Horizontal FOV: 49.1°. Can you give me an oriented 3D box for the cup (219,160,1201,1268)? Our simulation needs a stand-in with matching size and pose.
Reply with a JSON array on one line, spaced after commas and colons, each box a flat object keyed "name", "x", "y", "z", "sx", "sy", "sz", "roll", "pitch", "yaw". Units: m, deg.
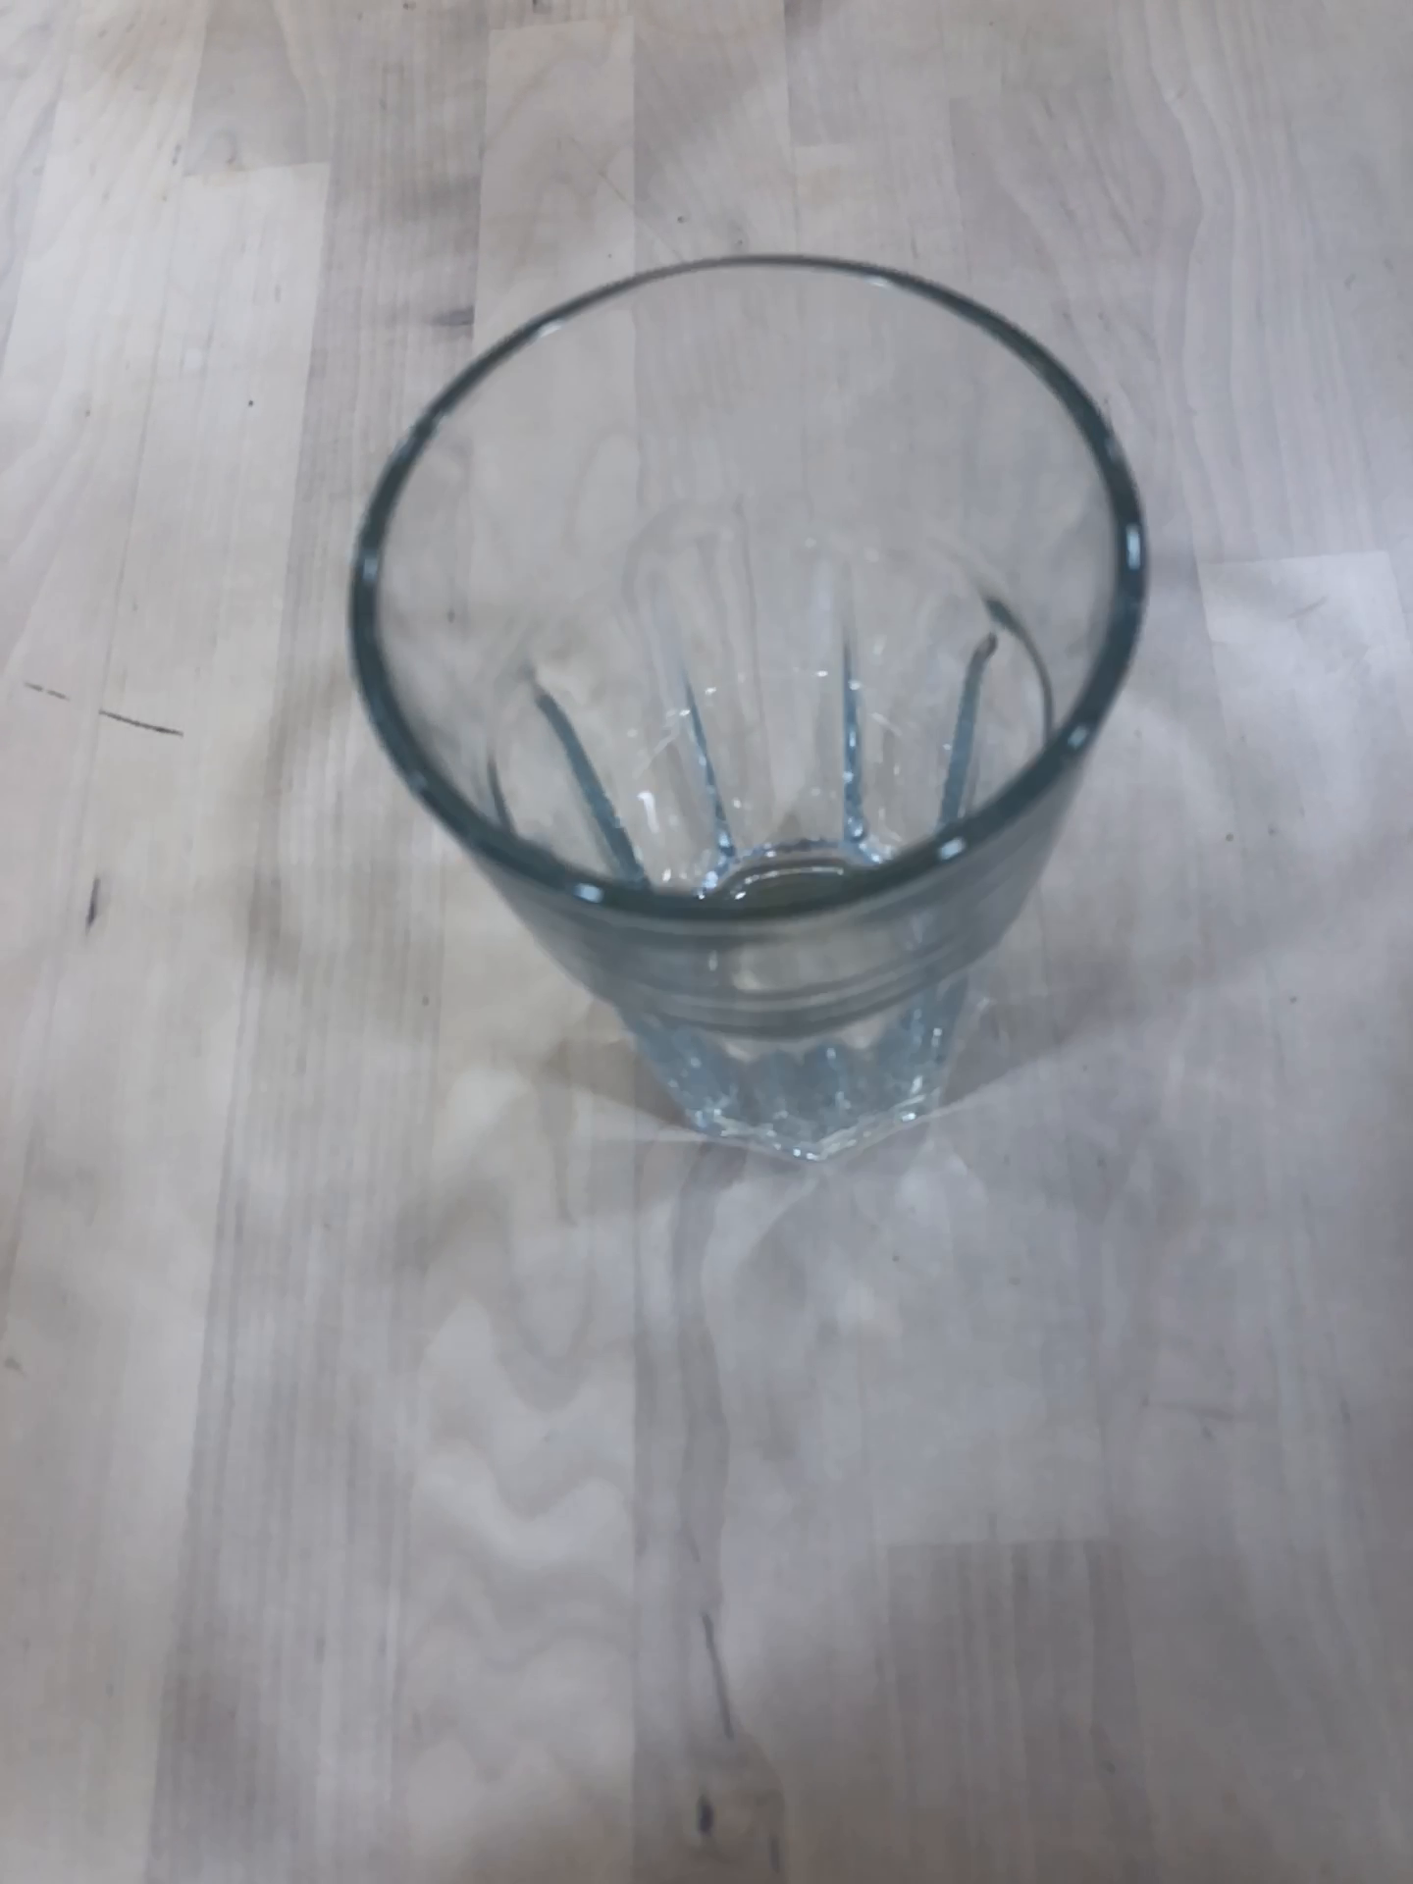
[{"name": "cup", "x": 0.012, "y": -0.018, "z": 0.240, "sx": 0.090, "sy": 0.159, "sz": 0.090, "roll": -3, "pitch": 67, "yaw": 6}]
